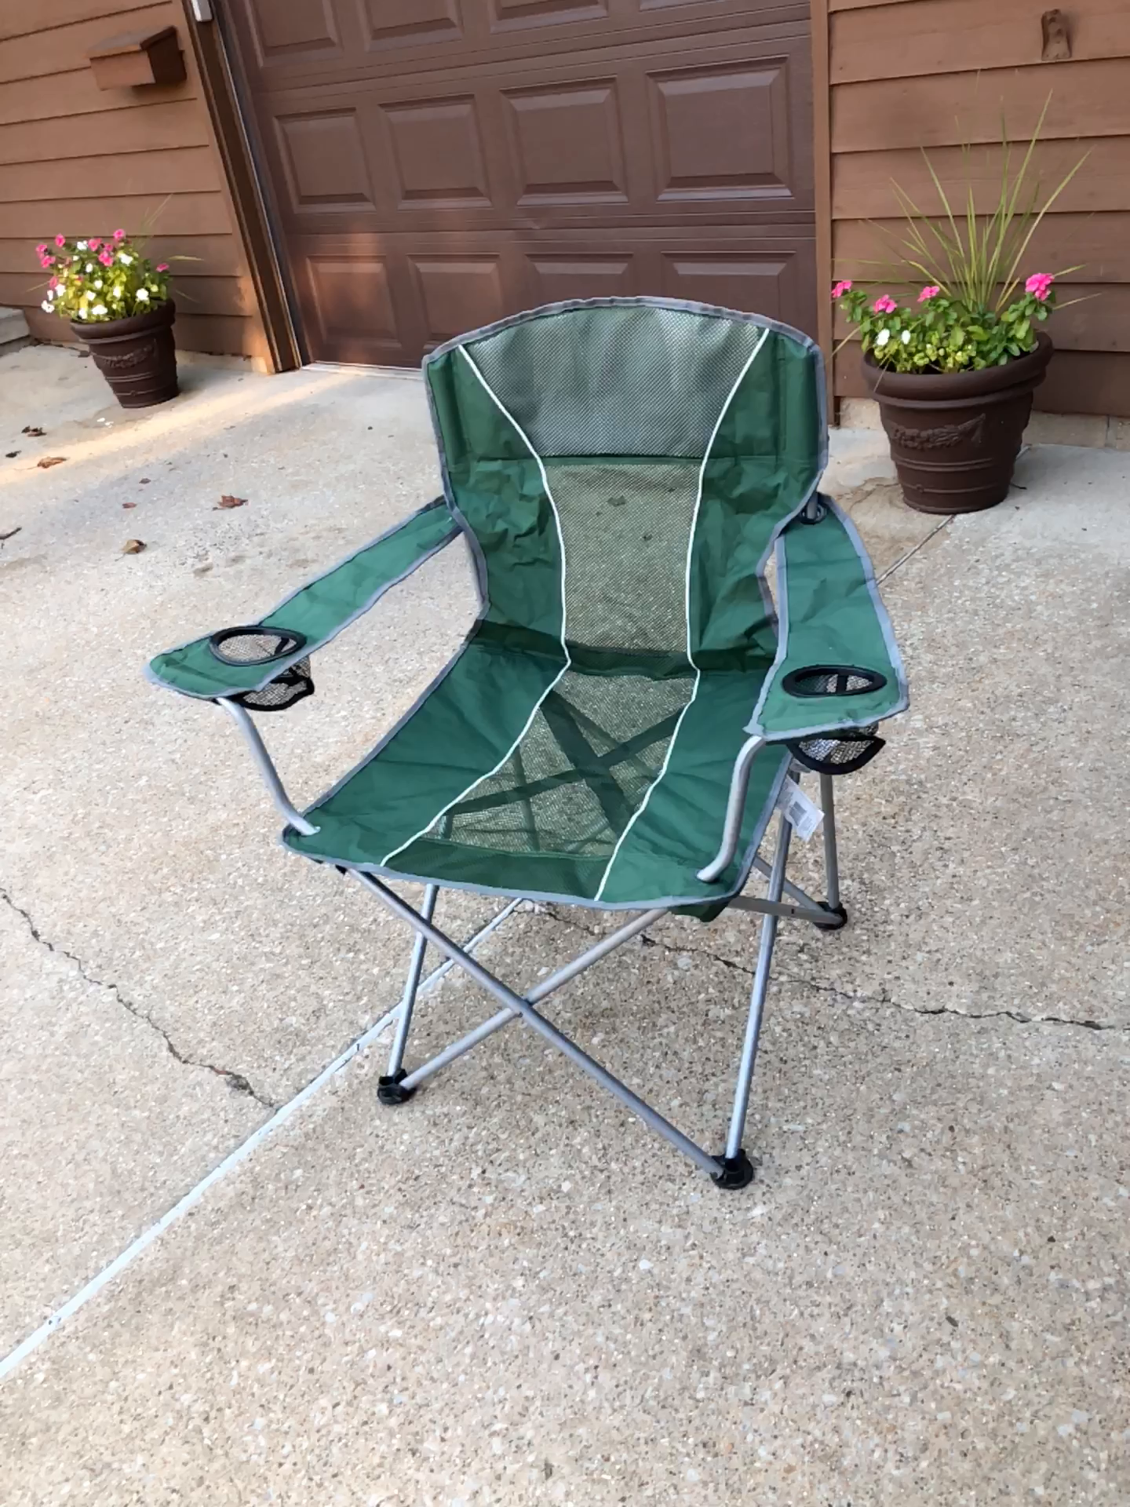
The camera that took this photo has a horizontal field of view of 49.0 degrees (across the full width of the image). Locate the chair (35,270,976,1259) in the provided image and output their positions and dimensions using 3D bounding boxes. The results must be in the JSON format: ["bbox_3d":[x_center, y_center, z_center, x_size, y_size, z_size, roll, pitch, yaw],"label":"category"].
[{"bbox_3d":[0.021,-0.040,1.557,0.821,0.907,0.641,7,33,25],"label":"chair"}]
